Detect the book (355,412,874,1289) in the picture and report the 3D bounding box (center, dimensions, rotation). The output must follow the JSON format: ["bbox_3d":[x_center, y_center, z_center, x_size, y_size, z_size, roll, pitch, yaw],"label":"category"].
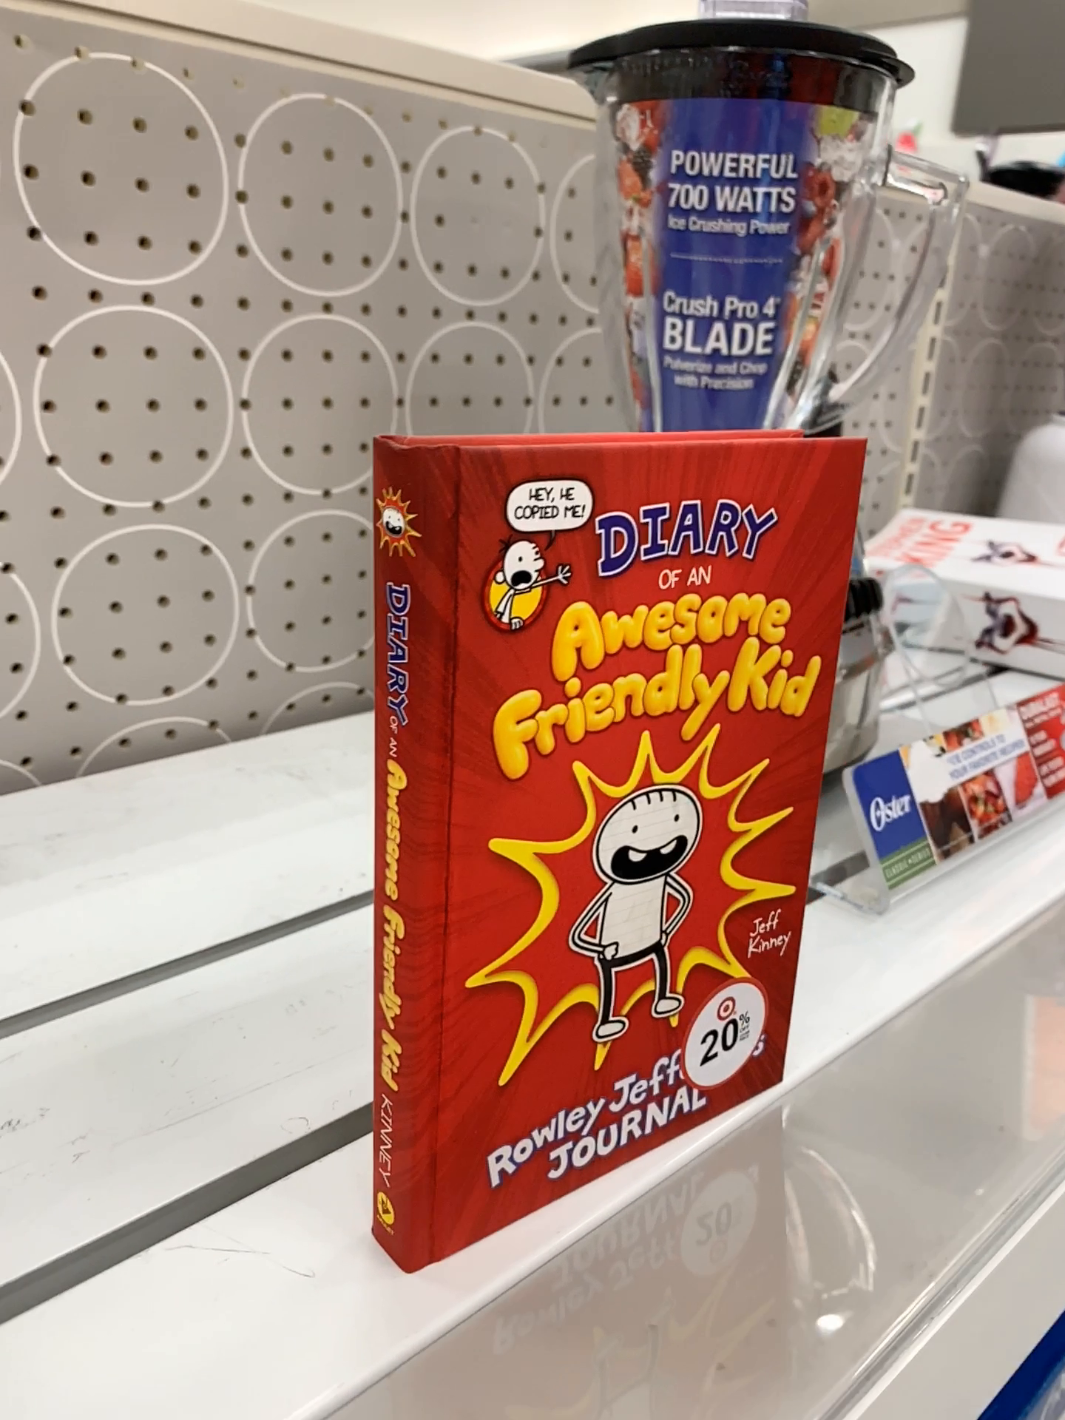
[{"bbox_3d":[0.023,0.029,0.297,0.140,0.209,0.030,-11,22,-36],"label":"book"}]
